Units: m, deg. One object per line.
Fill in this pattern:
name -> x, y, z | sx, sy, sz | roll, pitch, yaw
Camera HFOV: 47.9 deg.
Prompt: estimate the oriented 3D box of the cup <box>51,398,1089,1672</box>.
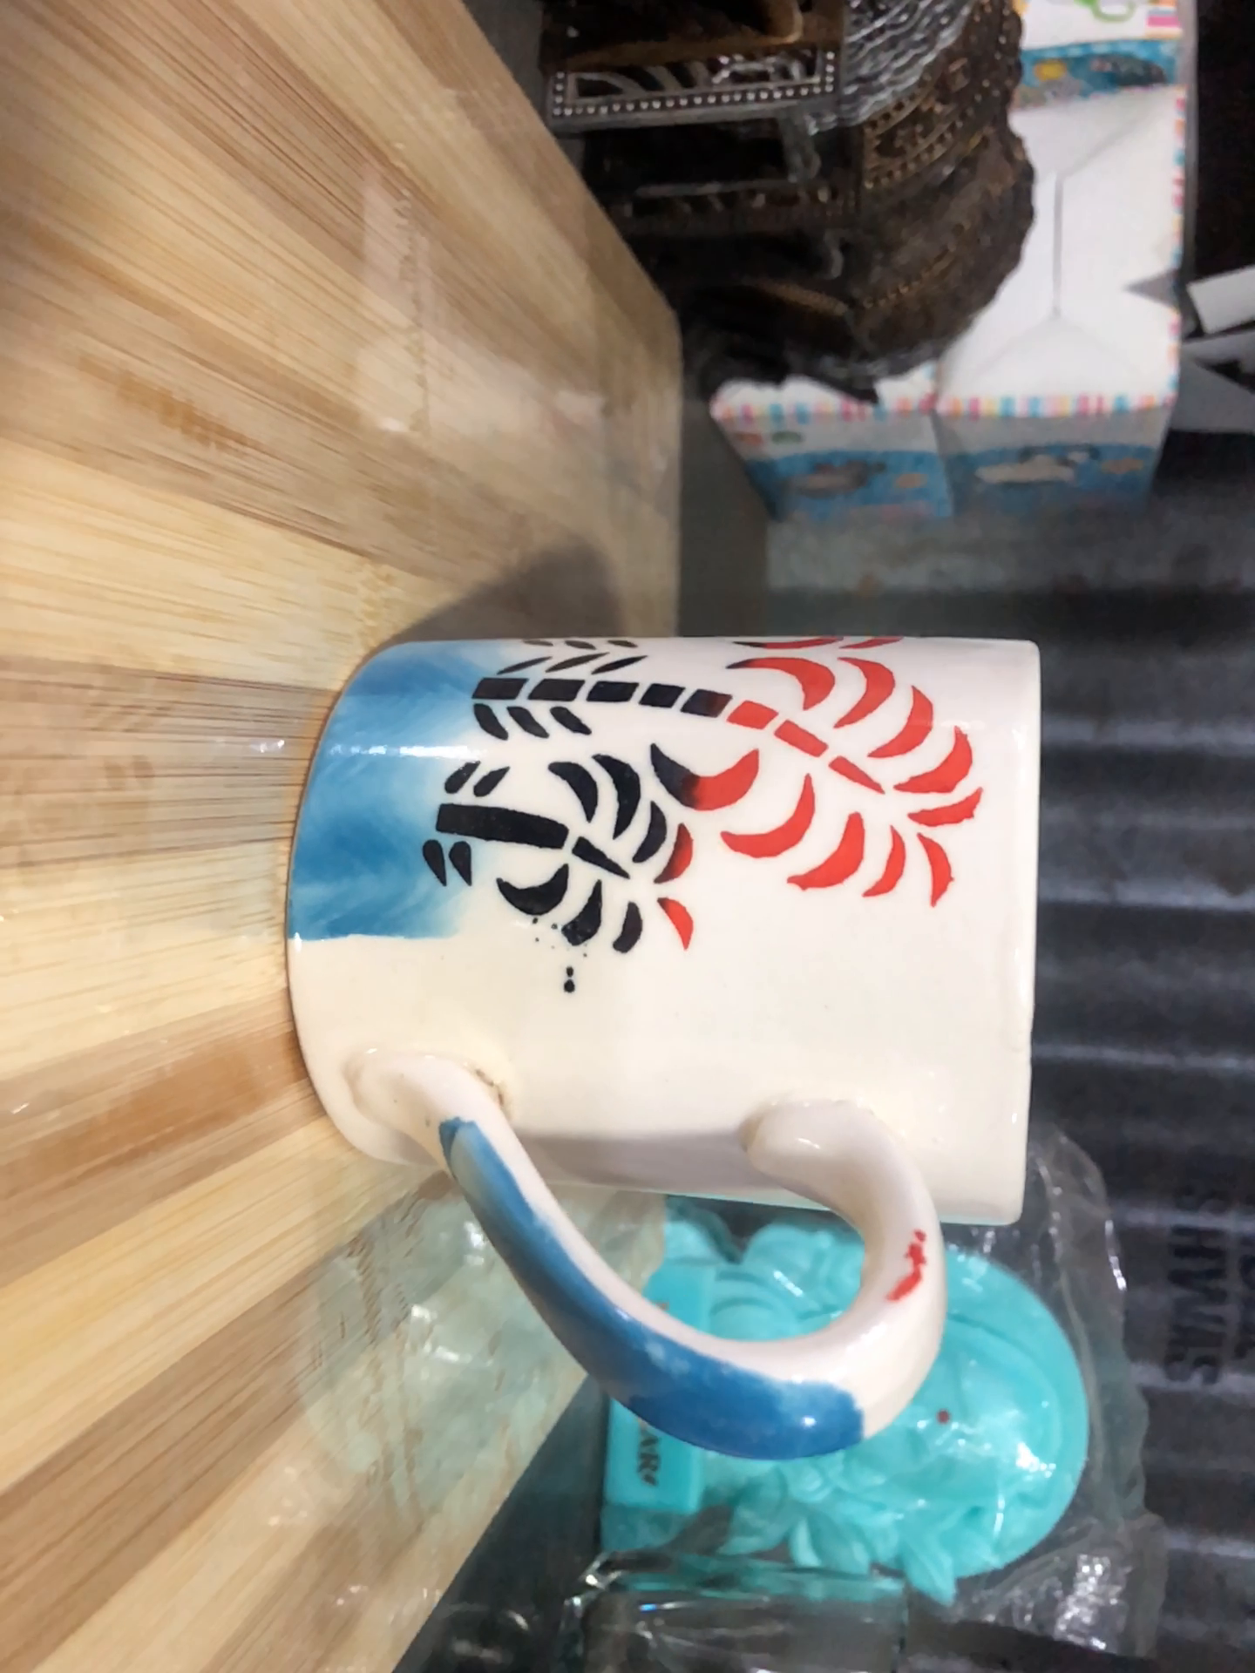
cup -> 0.011, 0.019, 0.181 | 0.120, 0.080, 0.100 | -74, 162, -45
